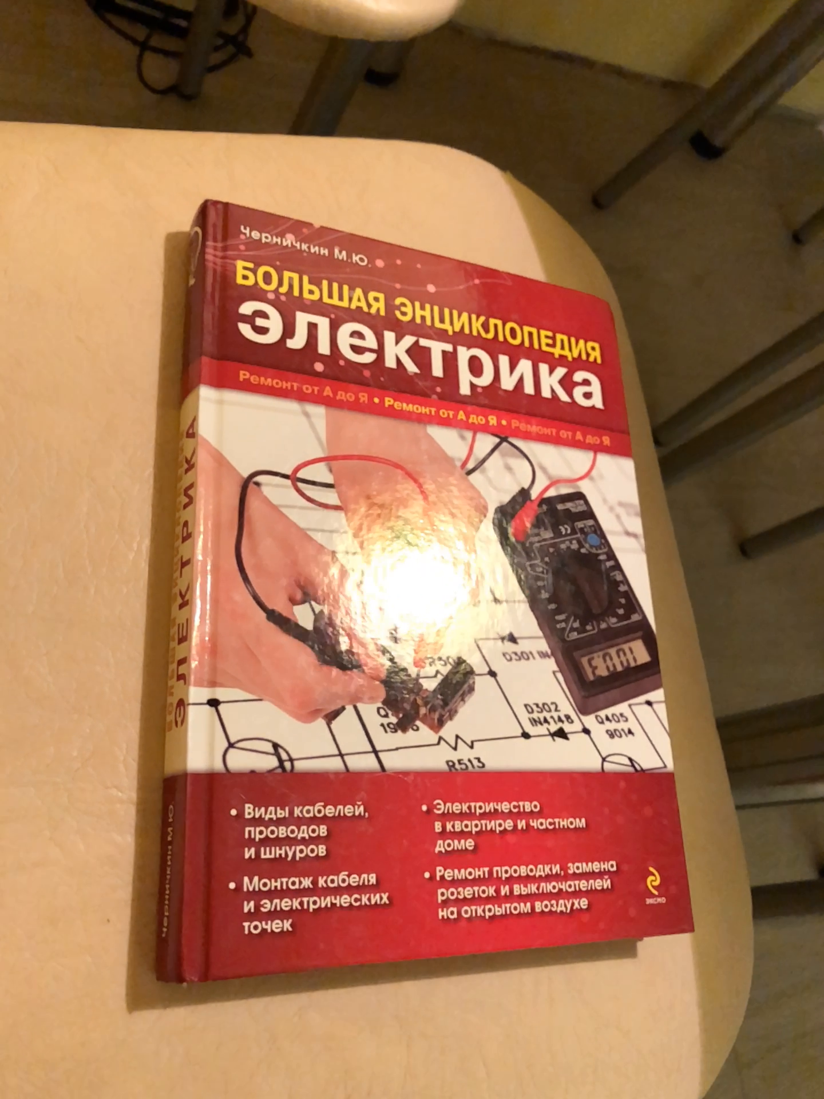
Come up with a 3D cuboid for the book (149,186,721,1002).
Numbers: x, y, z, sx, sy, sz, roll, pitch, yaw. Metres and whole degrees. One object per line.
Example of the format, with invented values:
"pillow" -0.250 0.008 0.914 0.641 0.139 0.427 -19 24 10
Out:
"book" 0.009 0.008 0.307 0.173 0.030 0.241 6 69 -24
